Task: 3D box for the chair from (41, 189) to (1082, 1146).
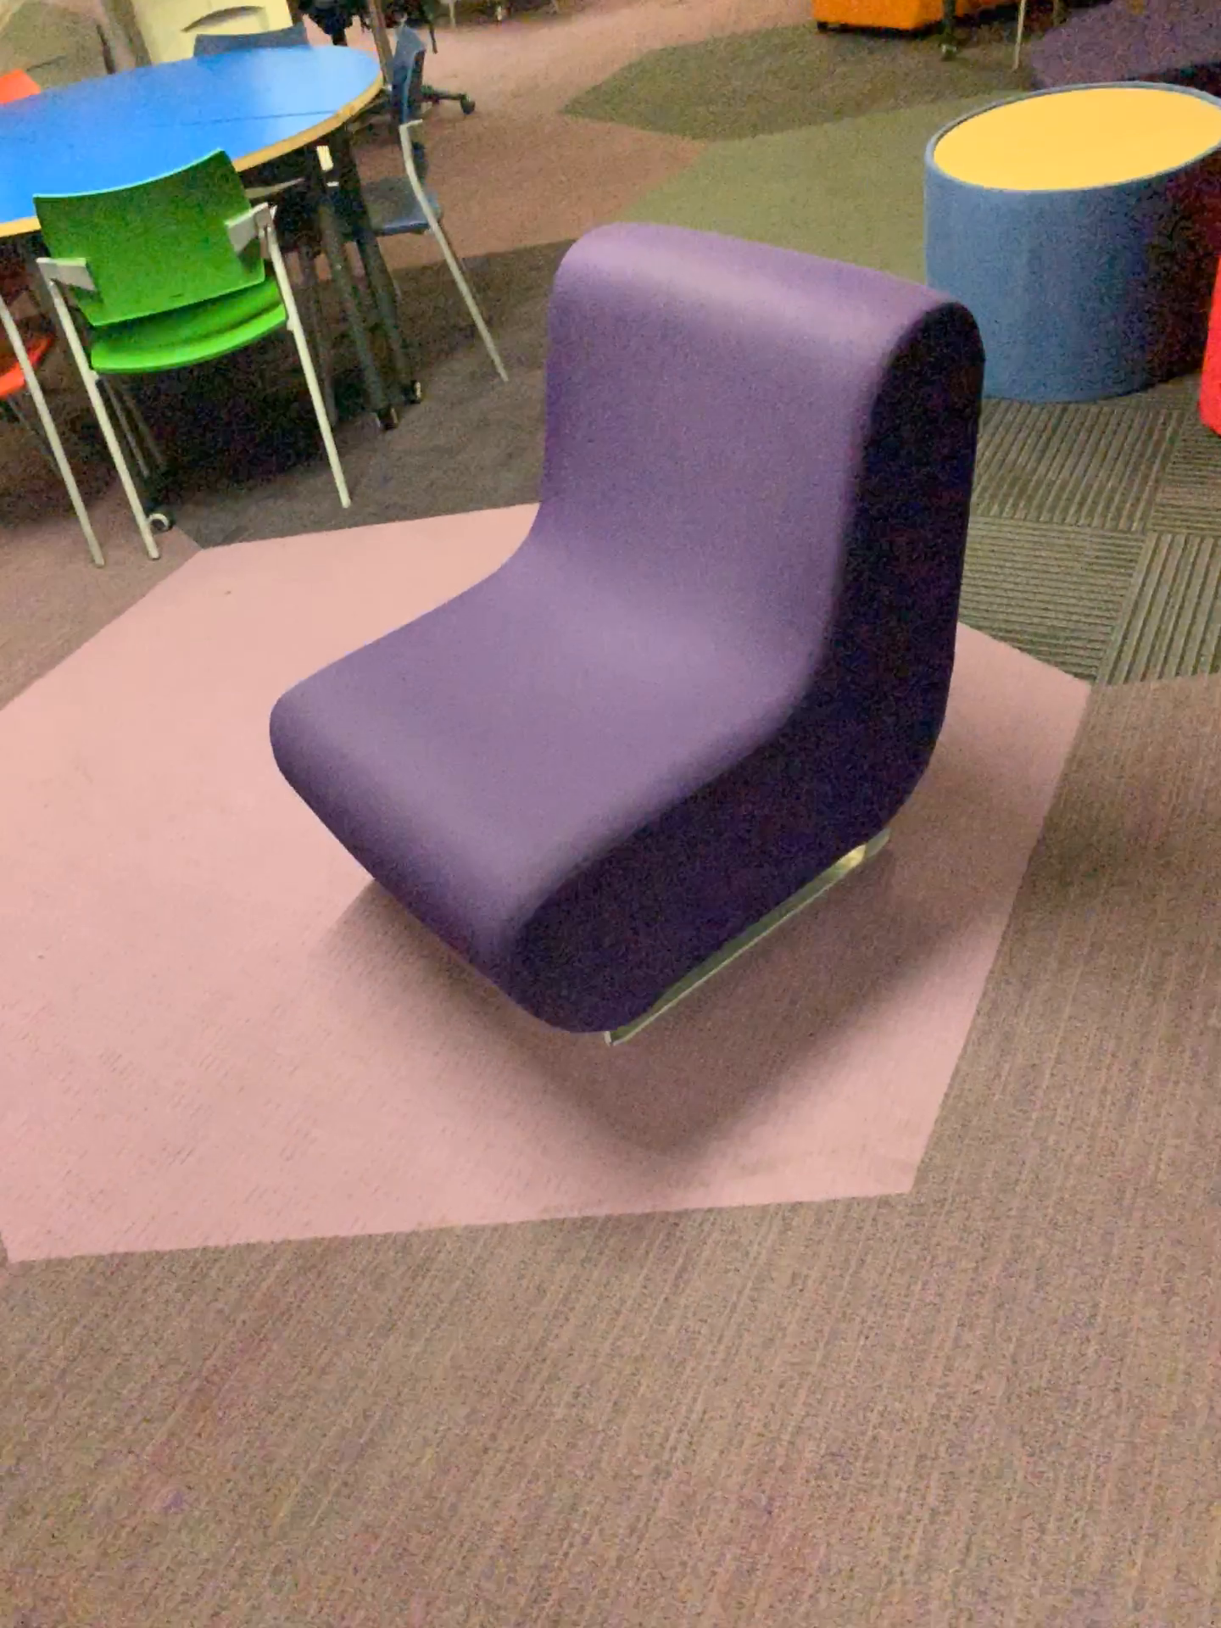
[{"bbox_3d":[-0.044,-0.266,1.537,0.823,0.614,0.805,-34,45,-23],"label":"chair"}]
